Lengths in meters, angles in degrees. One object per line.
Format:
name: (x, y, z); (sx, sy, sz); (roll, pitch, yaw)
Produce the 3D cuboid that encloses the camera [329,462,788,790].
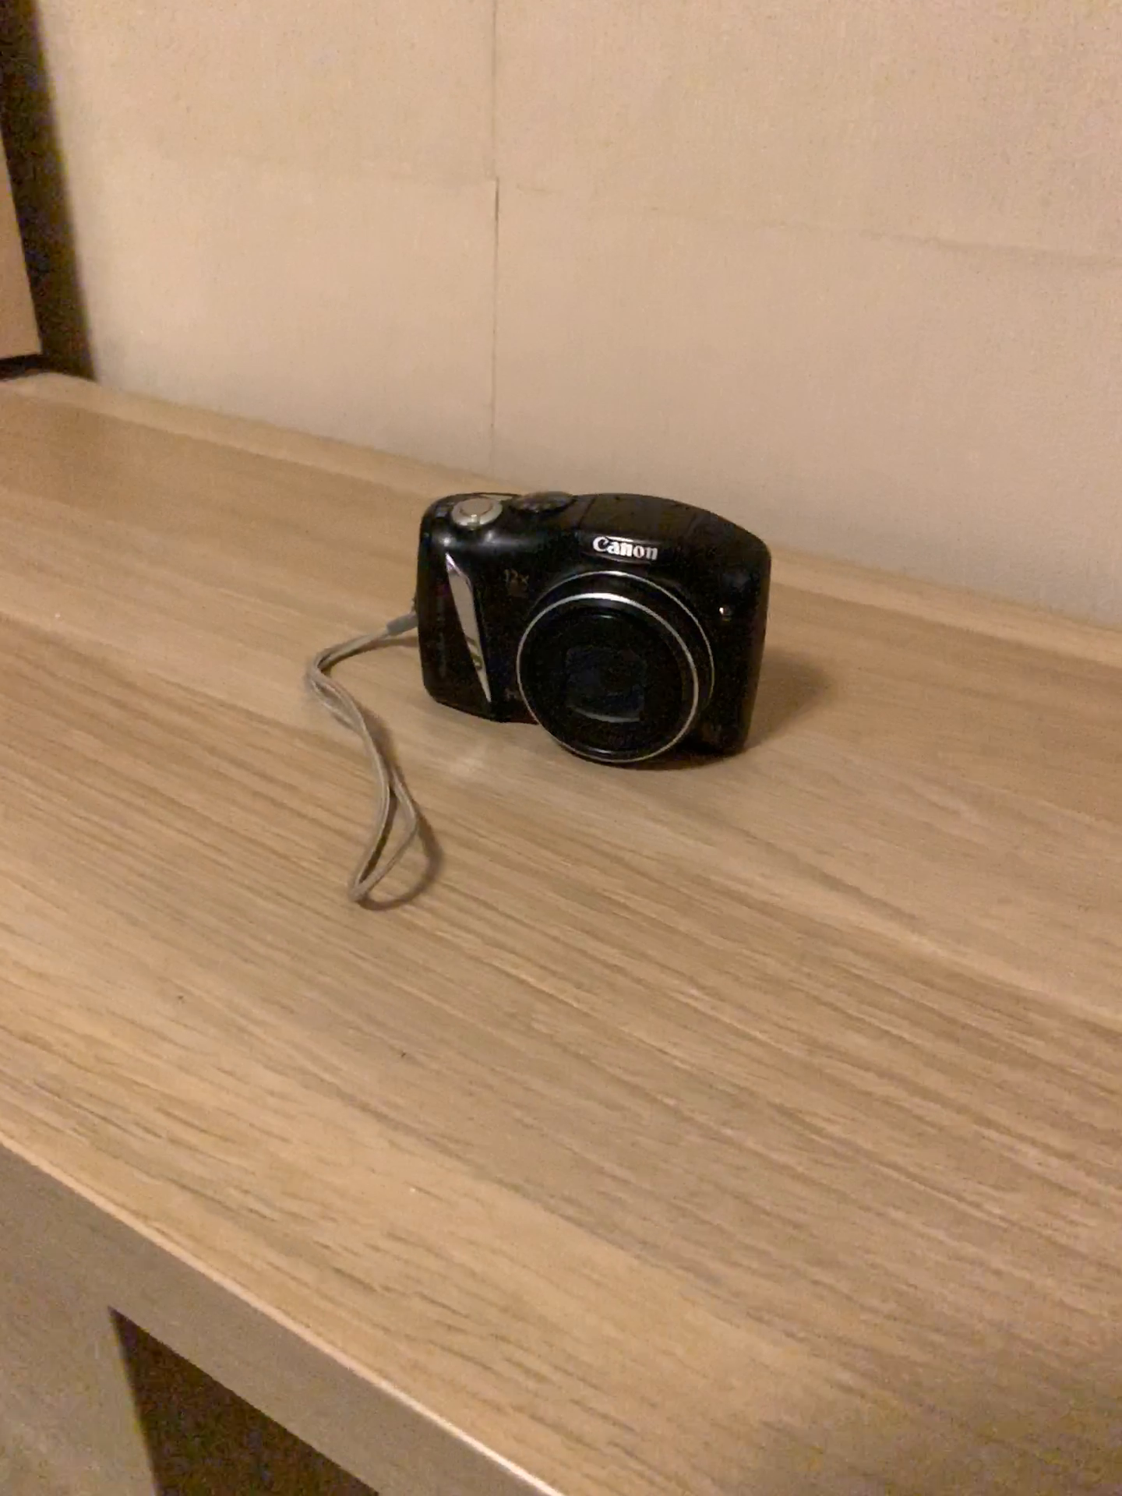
camera: (0.001, -0.041, 0.351); (0.120, 0.059, 0.069); (10, 31, 11)
